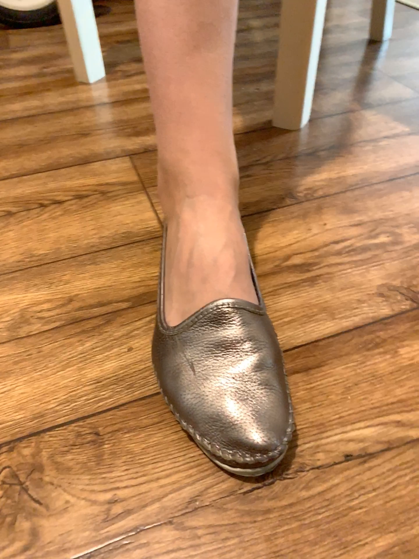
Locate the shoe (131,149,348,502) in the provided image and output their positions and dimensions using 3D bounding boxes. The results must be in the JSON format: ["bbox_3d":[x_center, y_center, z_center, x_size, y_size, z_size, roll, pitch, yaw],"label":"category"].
[{"bbox_3d":[0.003,0.014,0.302,0.095,0.070,0.231,-8,54,-4],"label":"shoe"}]
